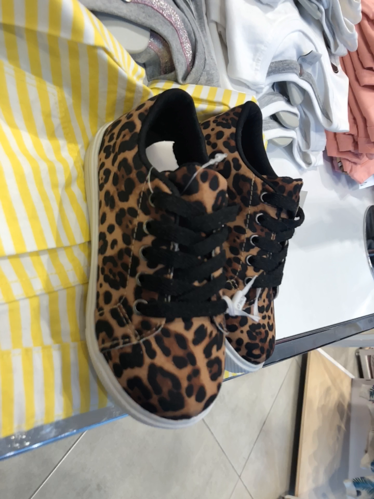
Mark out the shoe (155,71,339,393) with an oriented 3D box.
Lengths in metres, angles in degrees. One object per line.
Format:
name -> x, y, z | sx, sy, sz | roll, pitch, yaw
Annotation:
shoe -> 0.038, -0.006, 0.270 | 0.081, 0.079, 0.170 | 7, 78, -50

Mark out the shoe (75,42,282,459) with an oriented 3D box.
shoe -> -0.010, -0.001, 0.211 | 0.080, 0.060, 0.170 | 0, 82, -23
